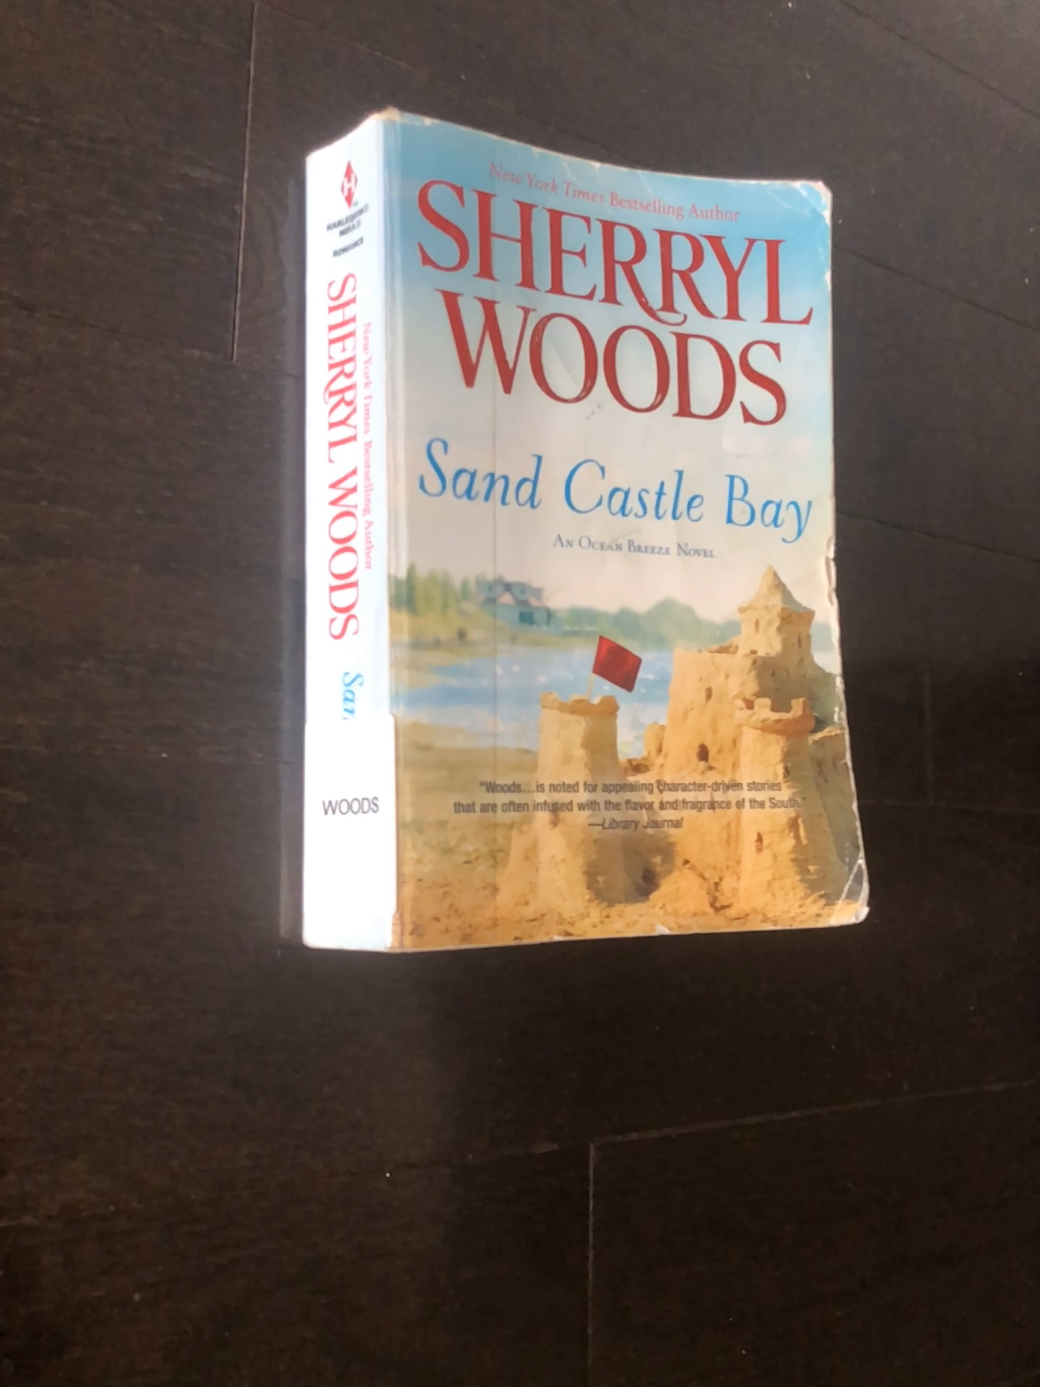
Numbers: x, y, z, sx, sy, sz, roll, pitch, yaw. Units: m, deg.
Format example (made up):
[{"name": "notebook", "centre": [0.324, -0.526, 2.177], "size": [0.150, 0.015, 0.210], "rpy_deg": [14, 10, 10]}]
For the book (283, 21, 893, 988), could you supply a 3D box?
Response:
[{"name": "book", "centre": [0.017, -0.030, 0.234], "size": [0.120, 0.037, 0.161], "rpy_deg": [3, 85, -29]}]
